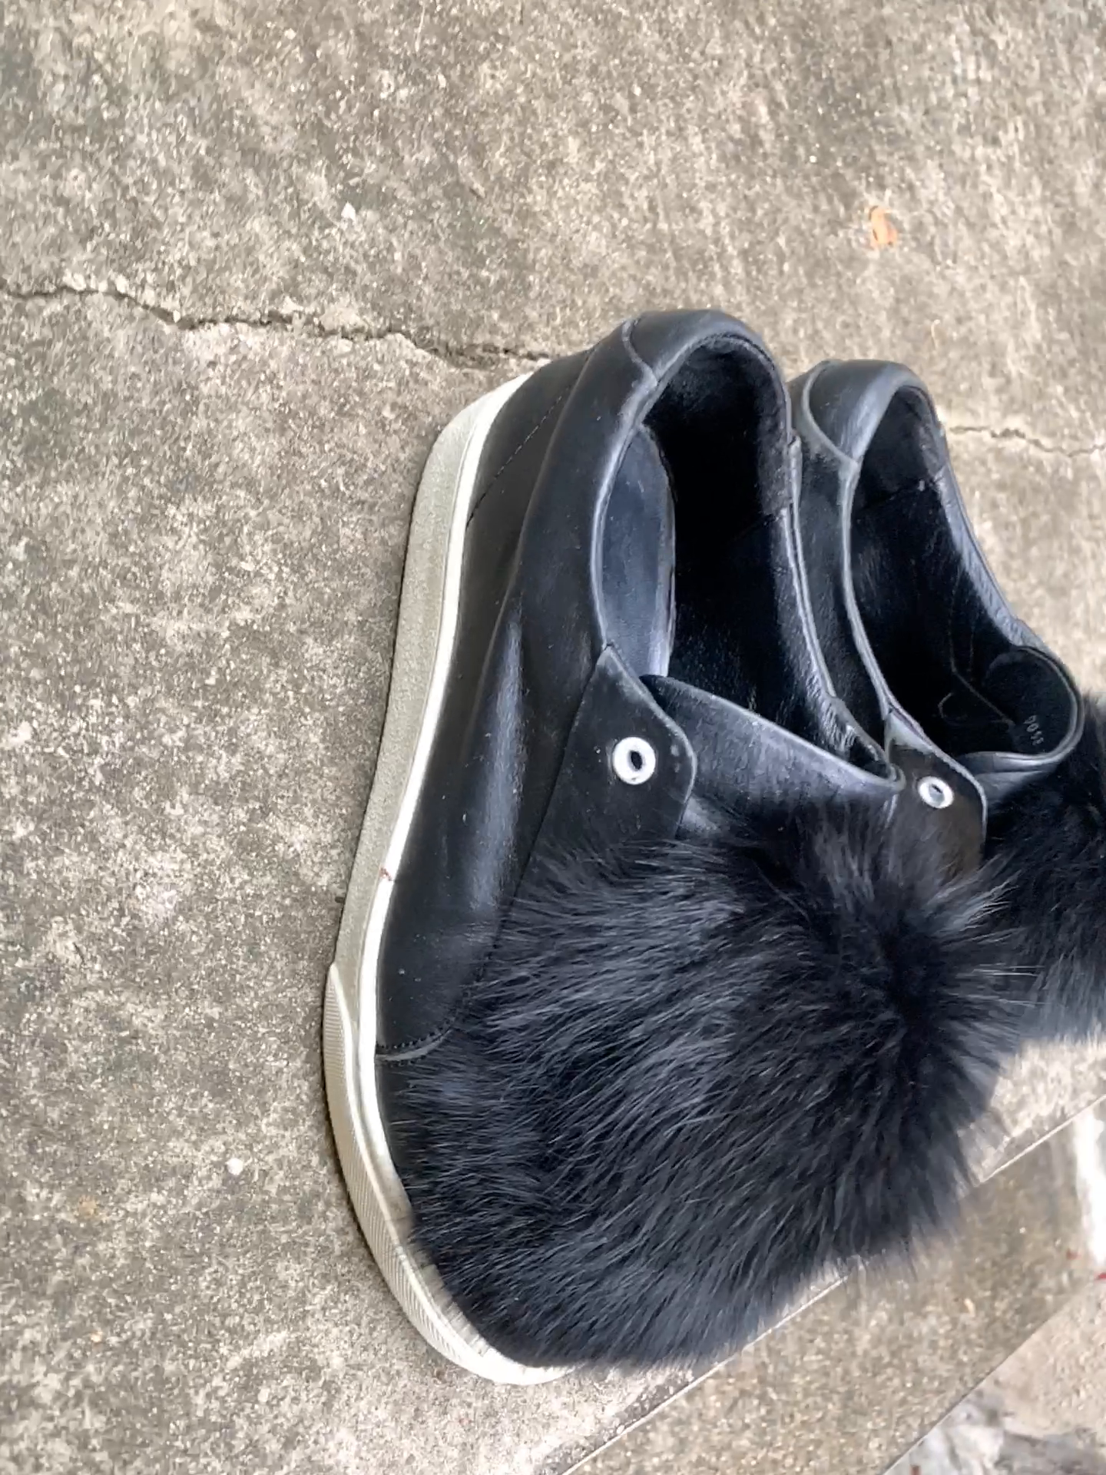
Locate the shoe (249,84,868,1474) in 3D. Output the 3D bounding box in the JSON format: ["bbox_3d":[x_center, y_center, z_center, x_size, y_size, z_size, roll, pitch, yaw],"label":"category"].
[{"bbox_3d":[0.002,0.009,0.278,0.095,0.097,0.269,11,75,-38],"label":"shoe"}]

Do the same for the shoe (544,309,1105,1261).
[{"bbox_3d":[0.107,0.014,0.349,0.098,0.097,0.243,-29,101,-40],"label":"shoe"}]
